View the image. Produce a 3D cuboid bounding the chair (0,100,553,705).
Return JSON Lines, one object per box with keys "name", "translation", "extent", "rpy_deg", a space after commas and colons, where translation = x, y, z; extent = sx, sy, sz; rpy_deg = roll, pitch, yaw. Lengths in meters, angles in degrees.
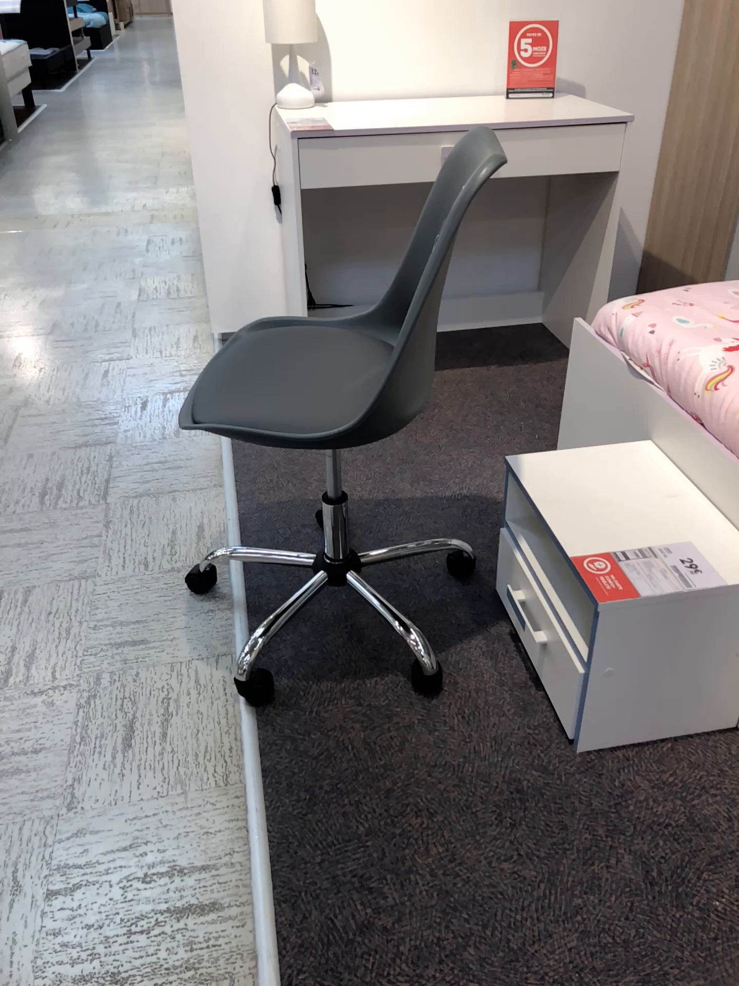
{"name": "chair", "translation": [-0.092, -0.167, 1.378], "extent": [0.630, 0.835, 0.604], "rpy_deg": [0, 32, 2]}
